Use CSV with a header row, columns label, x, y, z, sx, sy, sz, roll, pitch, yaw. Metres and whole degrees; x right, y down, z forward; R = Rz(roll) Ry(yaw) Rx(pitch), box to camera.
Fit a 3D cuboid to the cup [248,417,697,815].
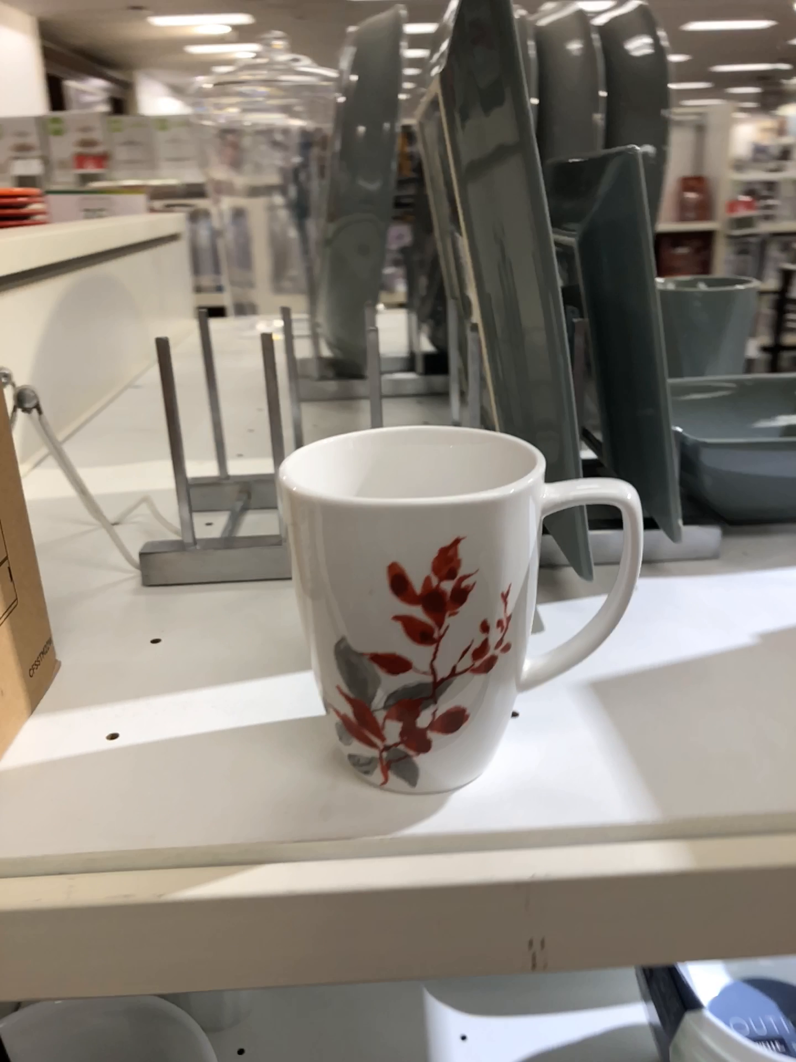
label,x,y,z,sx,sy,sz,roll,pitch,yaw
cup,0.021,0.023,0.294,0.119,0.100,0.085,-2,21,1
